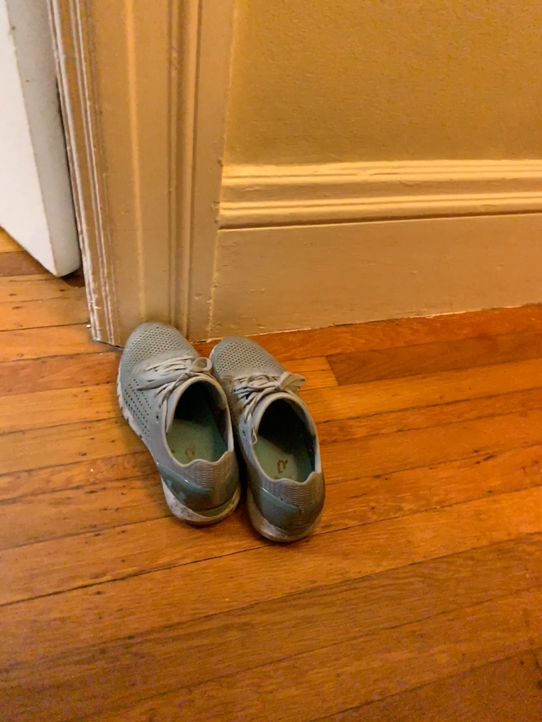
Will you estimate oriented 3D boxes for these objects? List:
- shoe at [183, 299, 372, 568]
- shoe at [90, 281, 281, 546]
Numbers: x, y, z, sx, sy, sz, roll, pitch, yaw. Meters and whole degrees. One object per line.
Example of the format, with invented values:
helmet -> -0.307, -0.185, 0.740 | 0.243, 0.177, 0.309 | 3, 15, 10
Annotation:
shoe -> -0.009, 0.063, 0.605 | 0.110, 0.090, 0.271 | -10, 52, -19
shoe -> -0.100, 0.040, 0.582 | 0.110, 0.080, 0.261 | -14, 53, -22
